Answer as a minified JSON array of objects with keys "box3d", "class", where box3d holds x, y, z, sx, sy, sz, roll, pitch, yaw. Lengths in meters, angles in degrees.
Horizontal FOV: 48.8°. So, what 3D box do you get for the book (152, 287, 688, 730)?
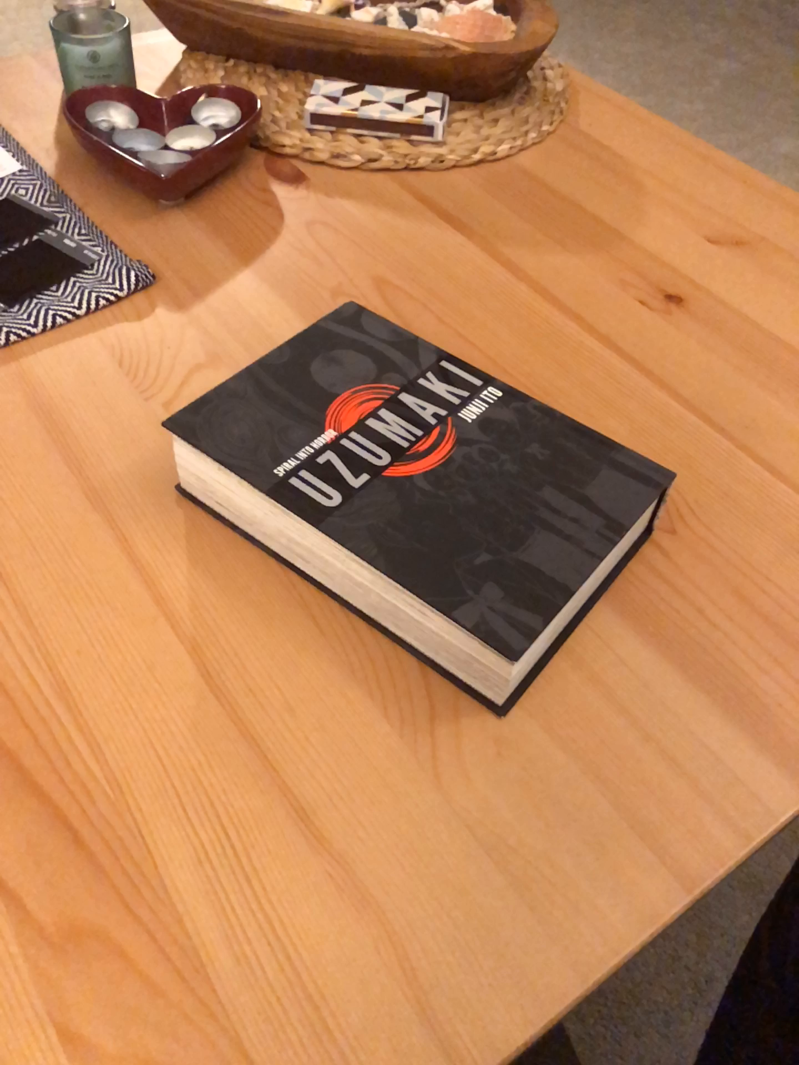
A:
[{"box3d":[0.010,-0.027,0.439,0.204,0.048,0.157,33,54,21],"class":"book"}]
